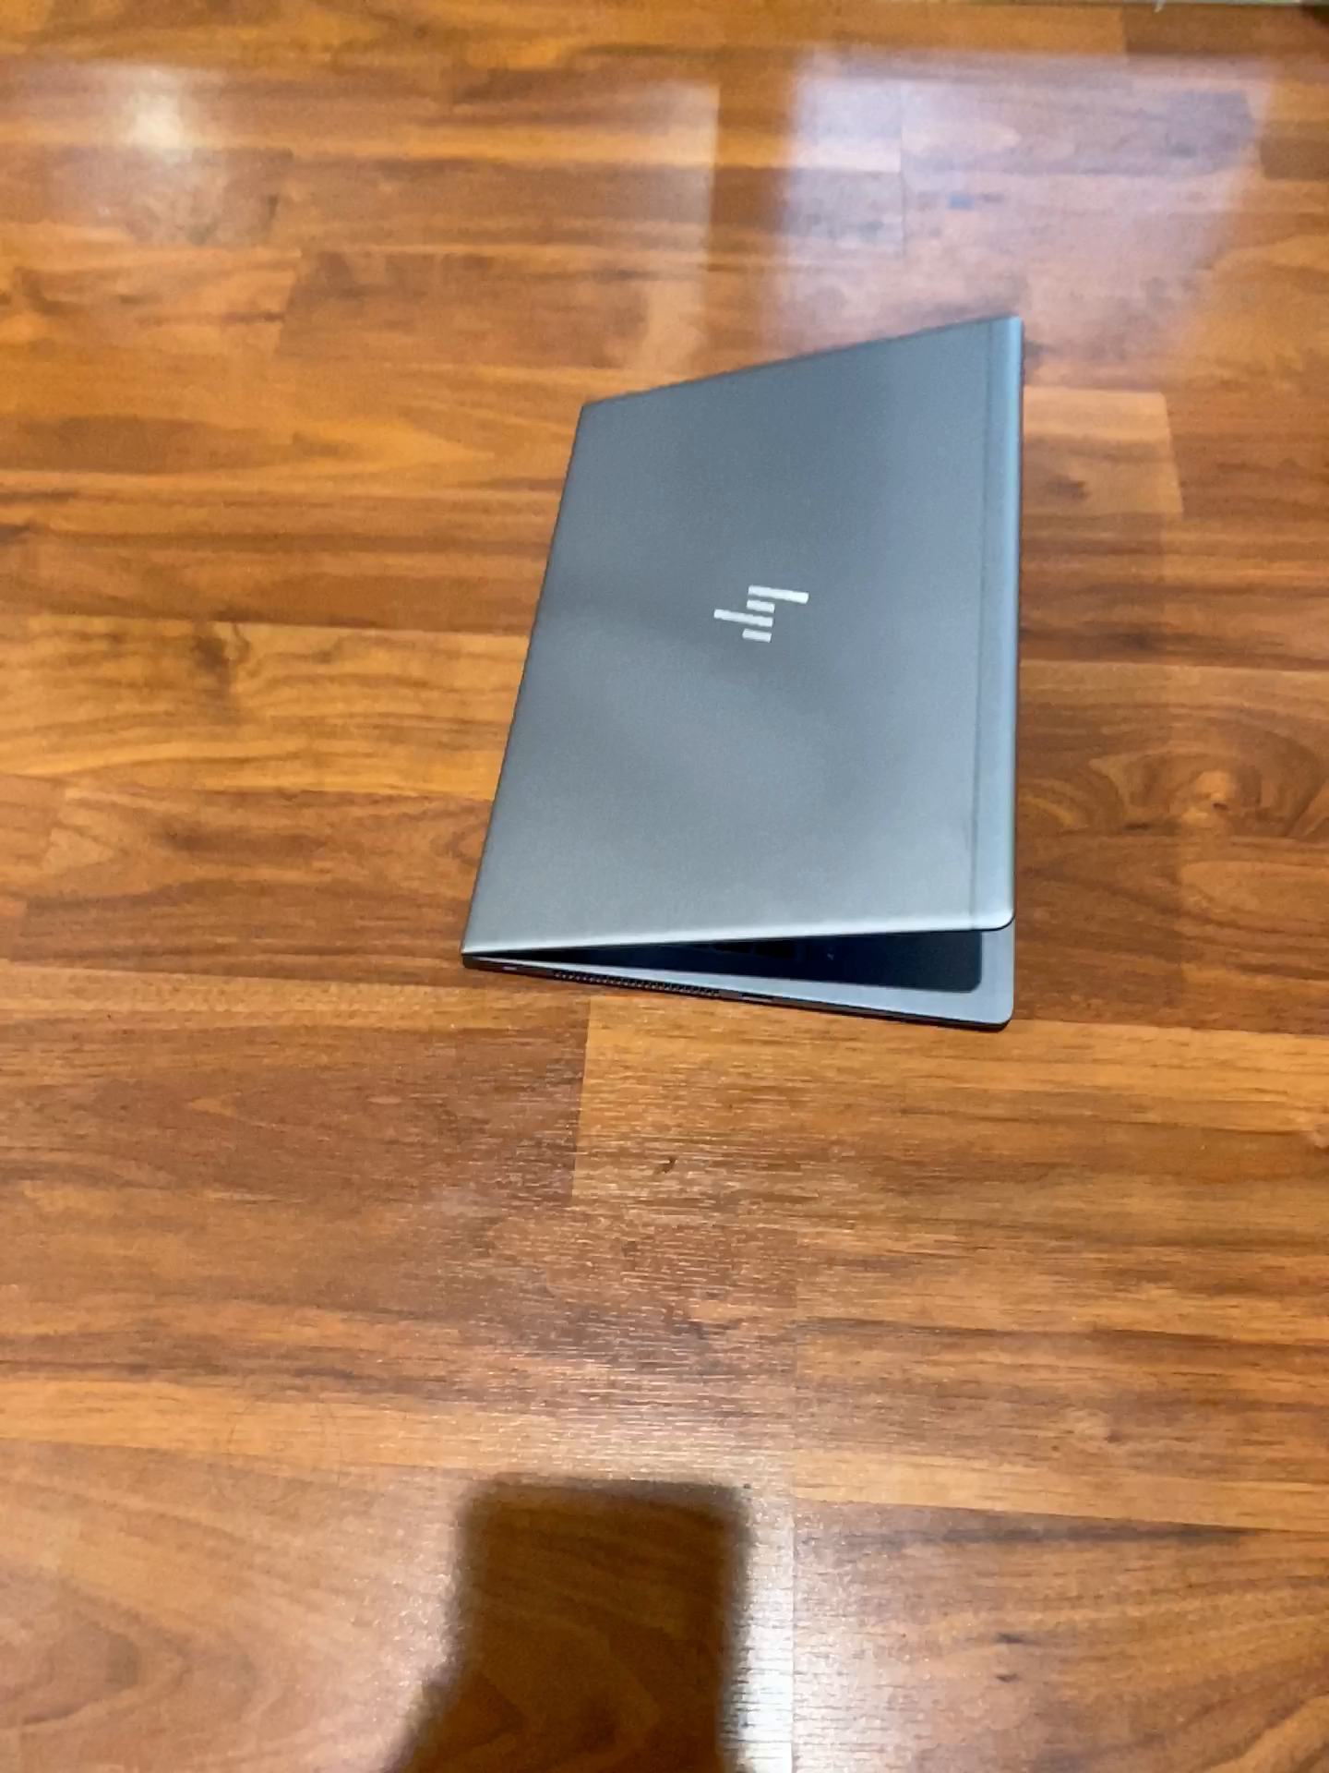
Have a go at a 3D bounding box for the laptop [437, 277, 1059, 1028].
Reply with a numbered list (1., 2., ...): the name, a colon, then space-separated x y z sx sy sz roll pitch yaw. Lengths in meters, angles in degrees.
1. laptop: 0.050 -0.117 0.606 0.230 0.078 0.326 7 63 3
